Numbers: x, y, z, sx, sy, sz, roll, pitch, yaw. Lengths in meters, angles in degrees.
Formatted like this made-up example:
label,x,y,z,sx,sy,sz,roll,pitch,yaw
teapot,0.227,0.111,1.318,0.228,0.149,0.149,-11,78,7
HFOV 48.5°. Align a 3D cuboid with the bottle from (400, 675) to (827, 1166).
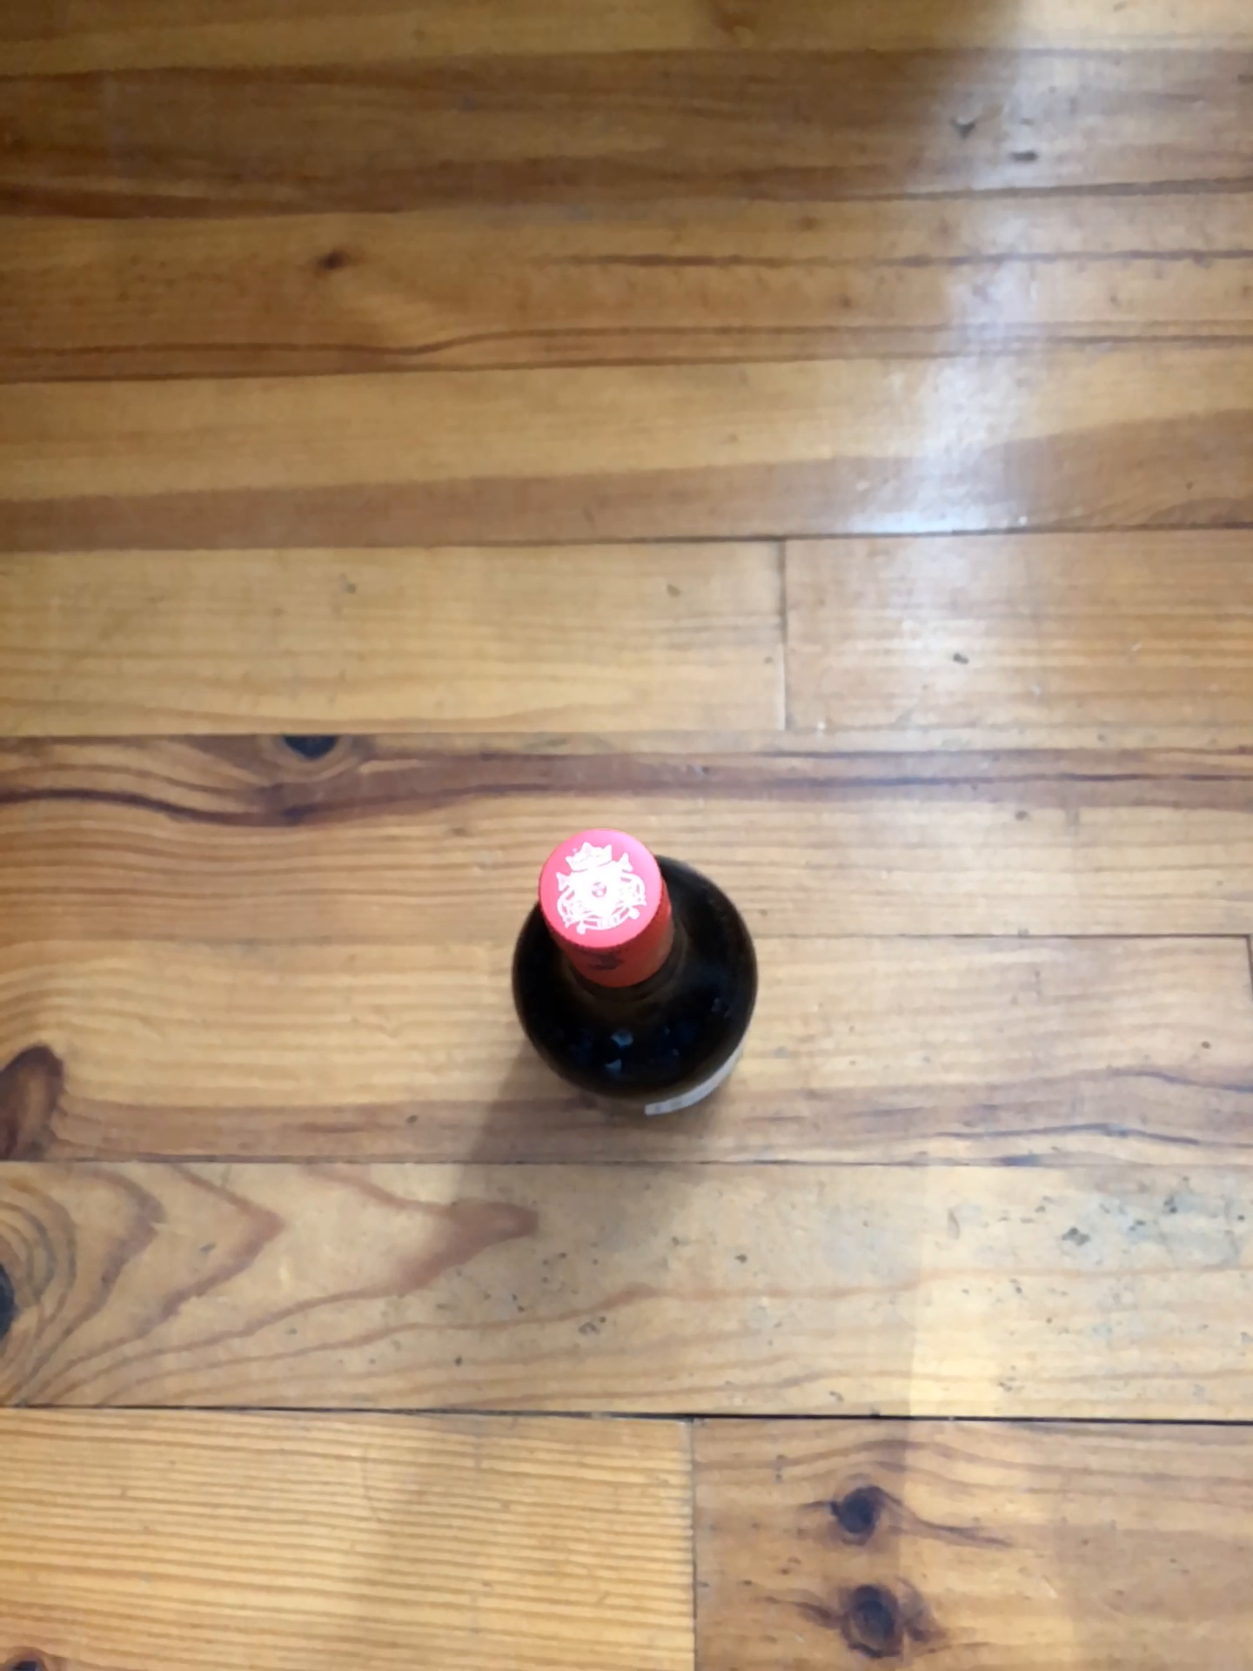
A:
label,x,y,z,sx,sy,sz,roll,pitch,yaw
bottle,0.003,0.034,0.355,0.060,0.170,0.070,24,76,10
